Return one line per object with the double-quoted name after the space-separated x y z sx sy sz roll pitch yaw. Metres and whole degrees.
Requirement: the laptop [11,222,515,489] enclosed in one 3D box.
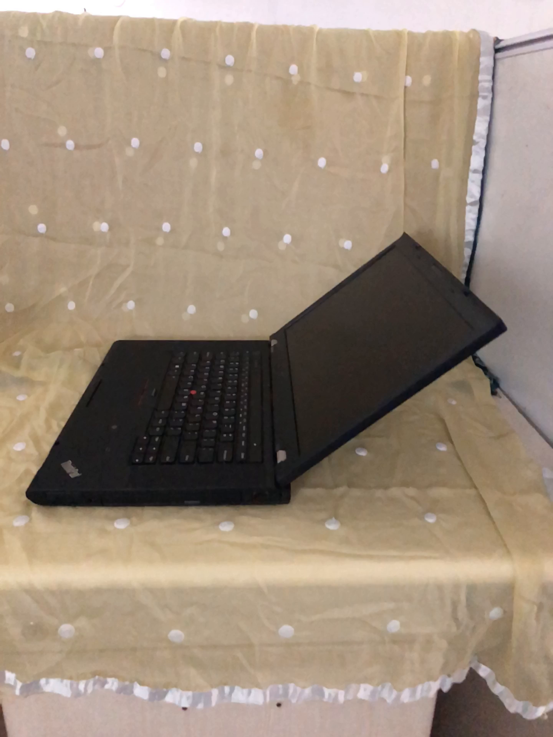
-0.019 -0.044 0.697 0.424 0.156 0.349 -3 24 0 "laptop"
